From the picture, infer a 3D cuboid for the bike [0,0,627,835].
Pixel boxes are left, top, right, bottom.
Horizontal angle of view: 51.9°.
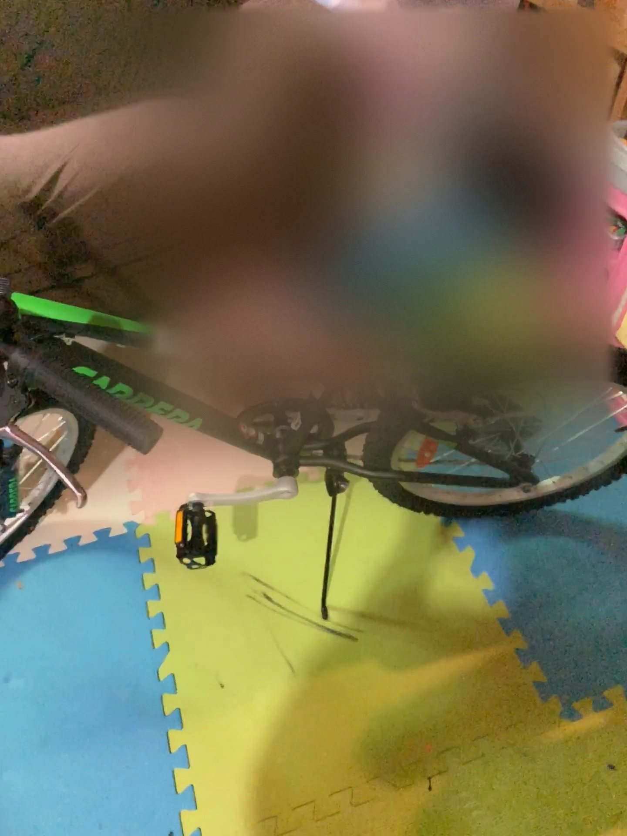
[{"bbox_3d":[-0.088,0.000,0.875,1.268,0.841,0.536,-12,48,-5],"label":"bike"}]
